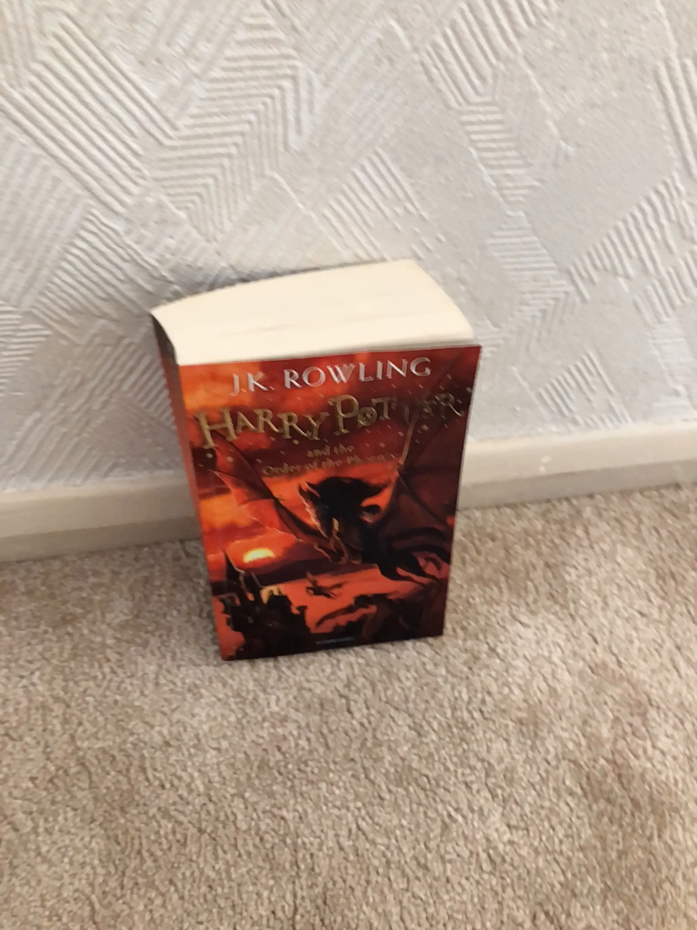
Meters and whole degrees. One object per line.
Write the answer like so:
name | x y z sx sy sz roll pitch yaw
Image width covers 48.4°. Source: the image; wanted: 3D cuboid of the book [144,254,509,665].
book | -0.014 0.002 0.407 0.147 0.189 0.092 -5 41 -7
